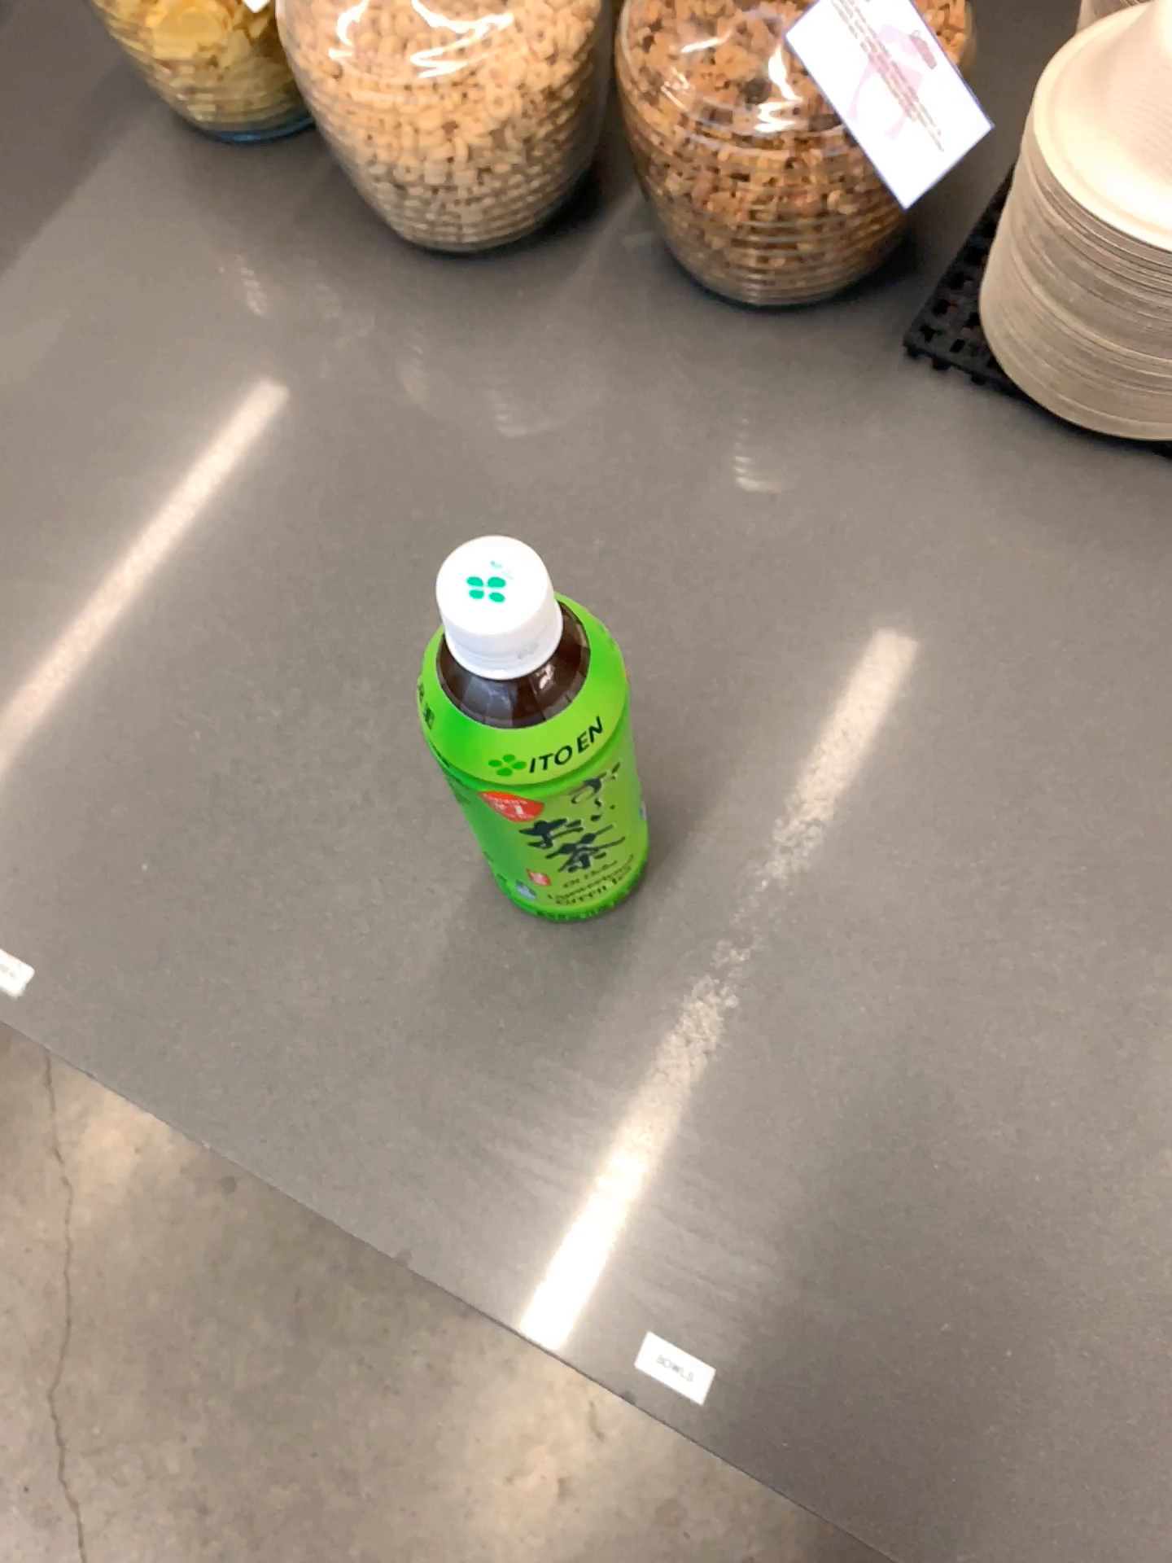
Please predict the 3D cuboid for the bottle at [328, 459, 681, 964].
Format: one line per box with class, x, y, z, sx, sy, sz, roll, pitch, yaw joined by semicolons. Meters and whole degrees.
bottle;-0.016;-0.008;0.414;0.070;0.200;0.070;-2;67;5
